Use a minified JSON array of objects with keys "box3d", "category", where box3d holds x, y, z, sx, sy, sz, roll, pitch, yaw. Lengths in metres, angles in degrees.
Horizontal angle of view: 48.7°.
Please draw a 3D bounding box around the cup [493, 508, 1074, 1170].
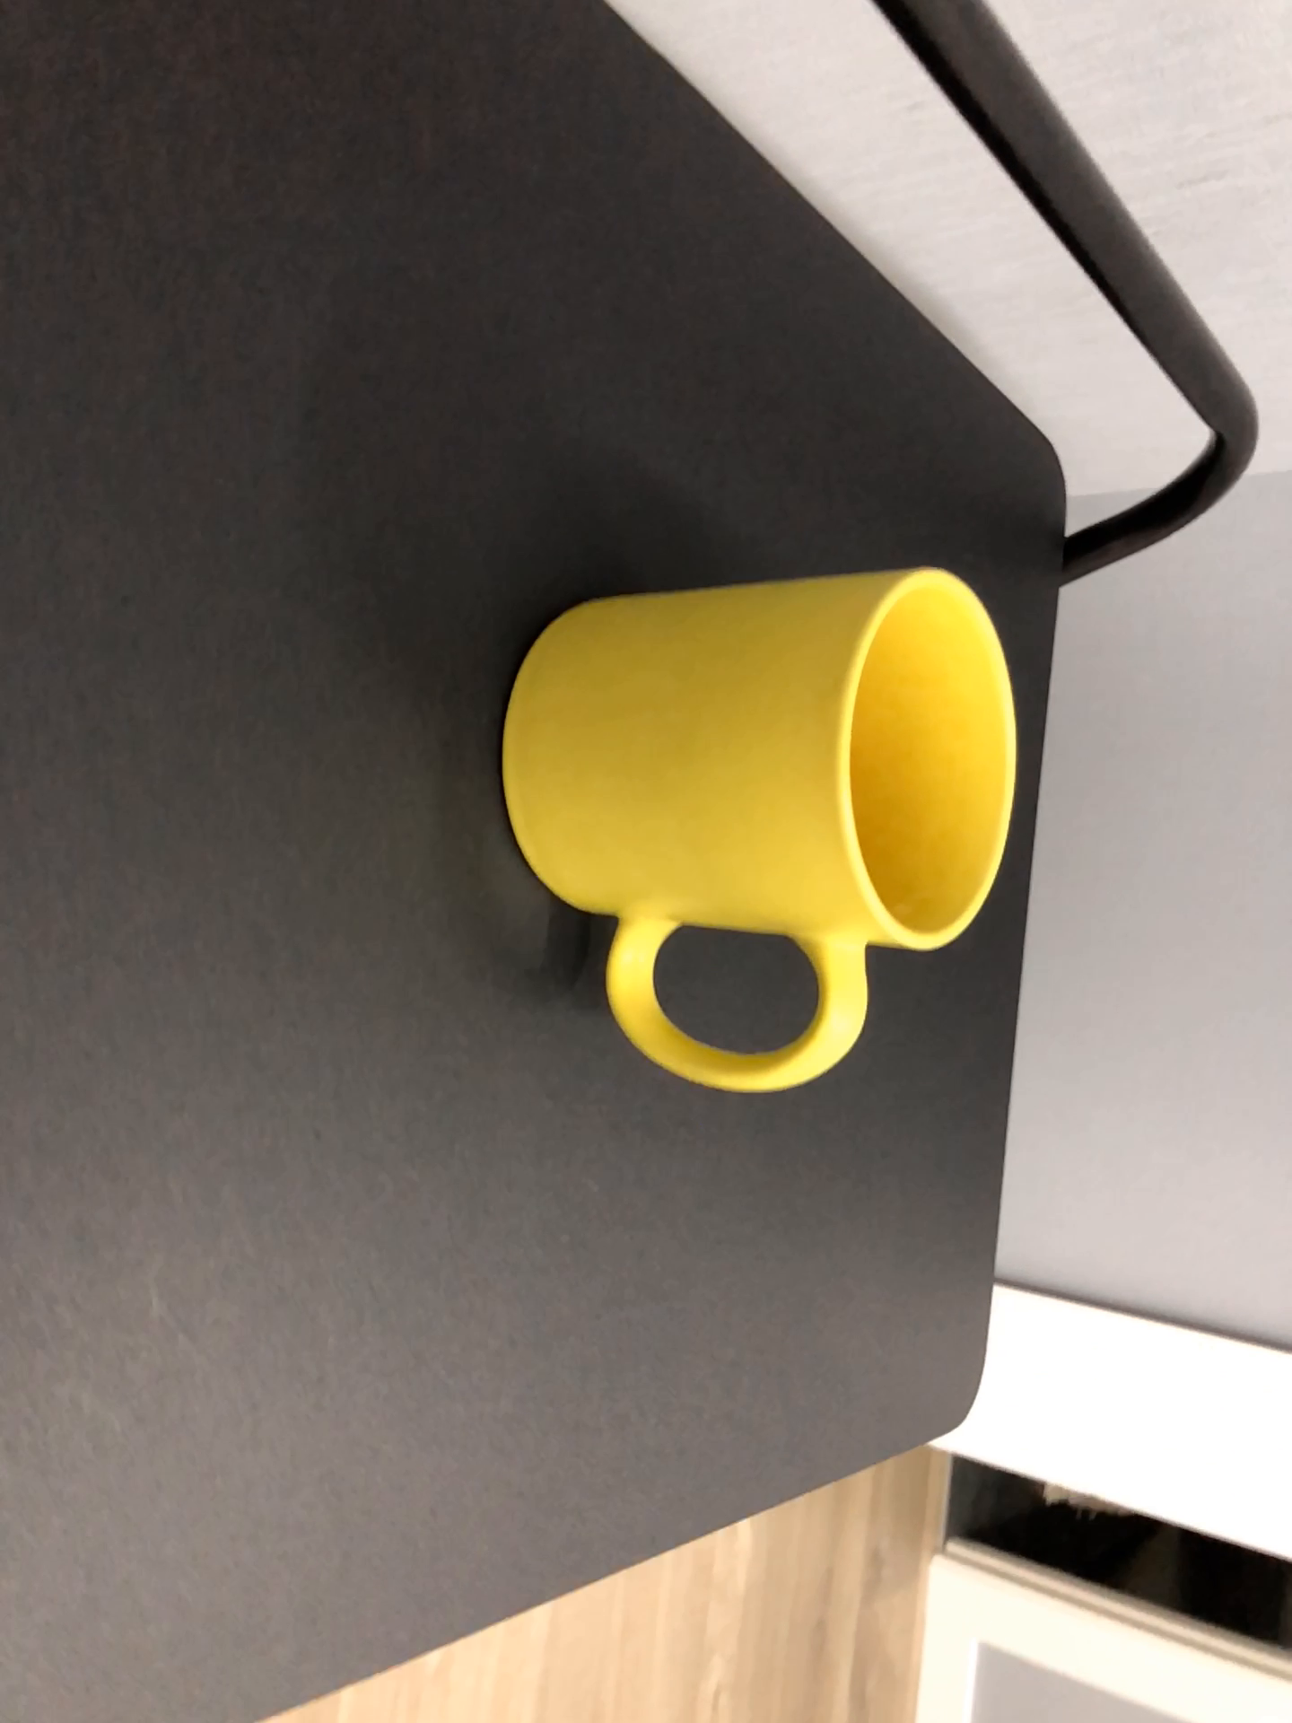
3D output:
[{"box3d":[0.033,-0.007,0.336,0.090,0.101,0.125,-2,94,-53],"category":"cup"}]
